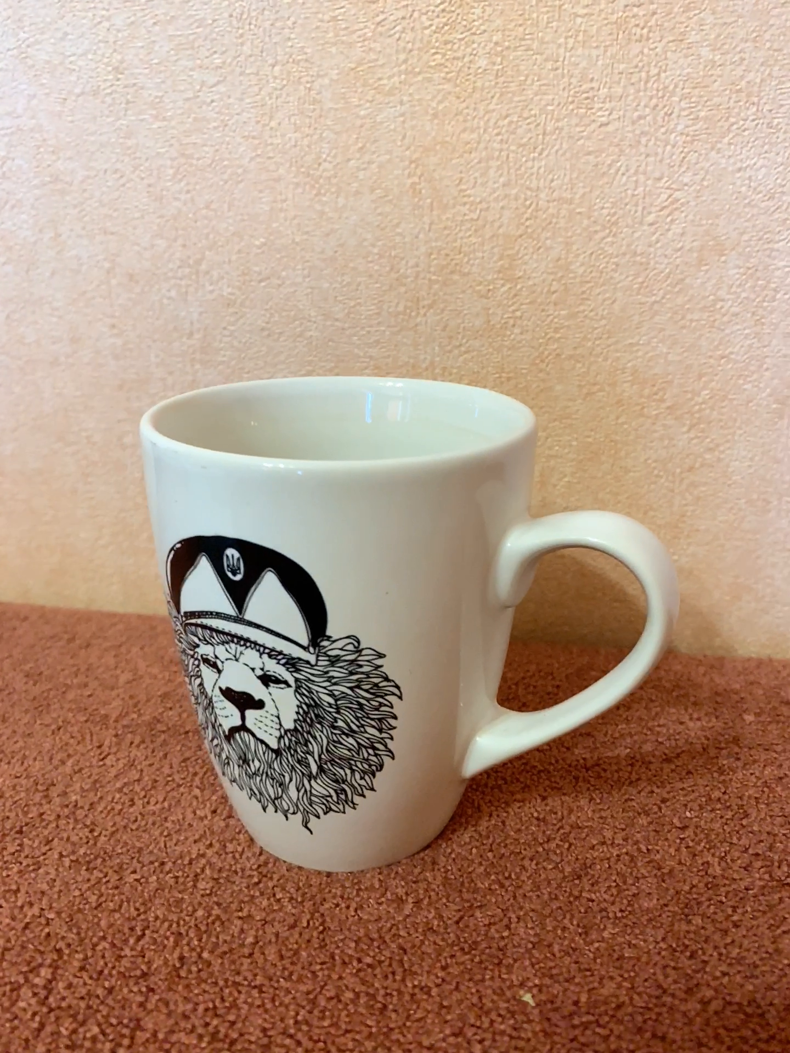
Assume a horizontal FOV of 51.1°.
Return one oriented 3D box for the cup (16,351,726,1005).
[{"bbox_3d":[0.005,0.016,0.203,0.126,0.095,0.106,7,24,24],"label":"cup"}]
